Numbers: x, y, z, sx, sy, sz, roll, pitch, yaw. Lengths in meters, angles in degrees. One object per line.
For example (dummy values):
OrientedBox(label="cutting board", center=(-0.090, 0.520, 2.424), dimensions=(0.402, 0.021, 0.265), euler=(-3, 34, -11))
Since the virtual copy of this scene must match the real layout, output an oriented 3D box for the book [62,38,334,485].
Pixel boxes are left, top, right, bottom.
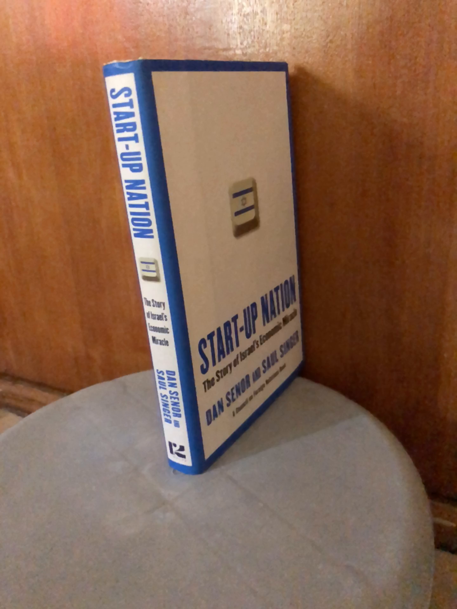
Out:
OrientedBox(label="book", center=(0.006, -0.040, 0.342), dimensions=(0.040, 0.229, 0.200), euler=(7, 22, 35))
